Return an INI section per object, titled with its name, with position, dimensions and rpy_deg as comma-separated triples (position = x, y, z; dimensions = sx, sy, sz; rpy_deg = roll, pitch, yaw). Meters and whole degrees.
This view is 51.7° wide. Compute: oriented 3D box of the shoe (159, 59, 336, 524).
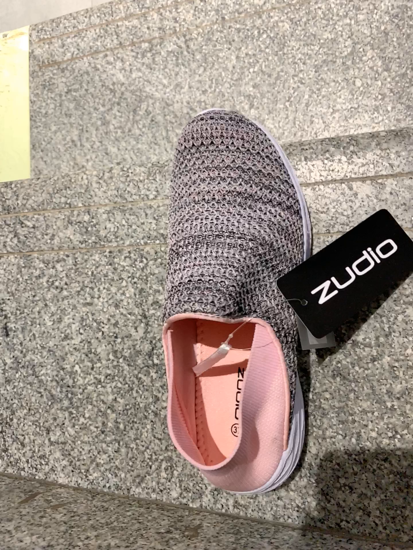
[shoe]
position = 0.030, 0.009, 0.282
dimensions = 0.090, 0.080, 0.250
rpy_deg = -3, 87, 20
